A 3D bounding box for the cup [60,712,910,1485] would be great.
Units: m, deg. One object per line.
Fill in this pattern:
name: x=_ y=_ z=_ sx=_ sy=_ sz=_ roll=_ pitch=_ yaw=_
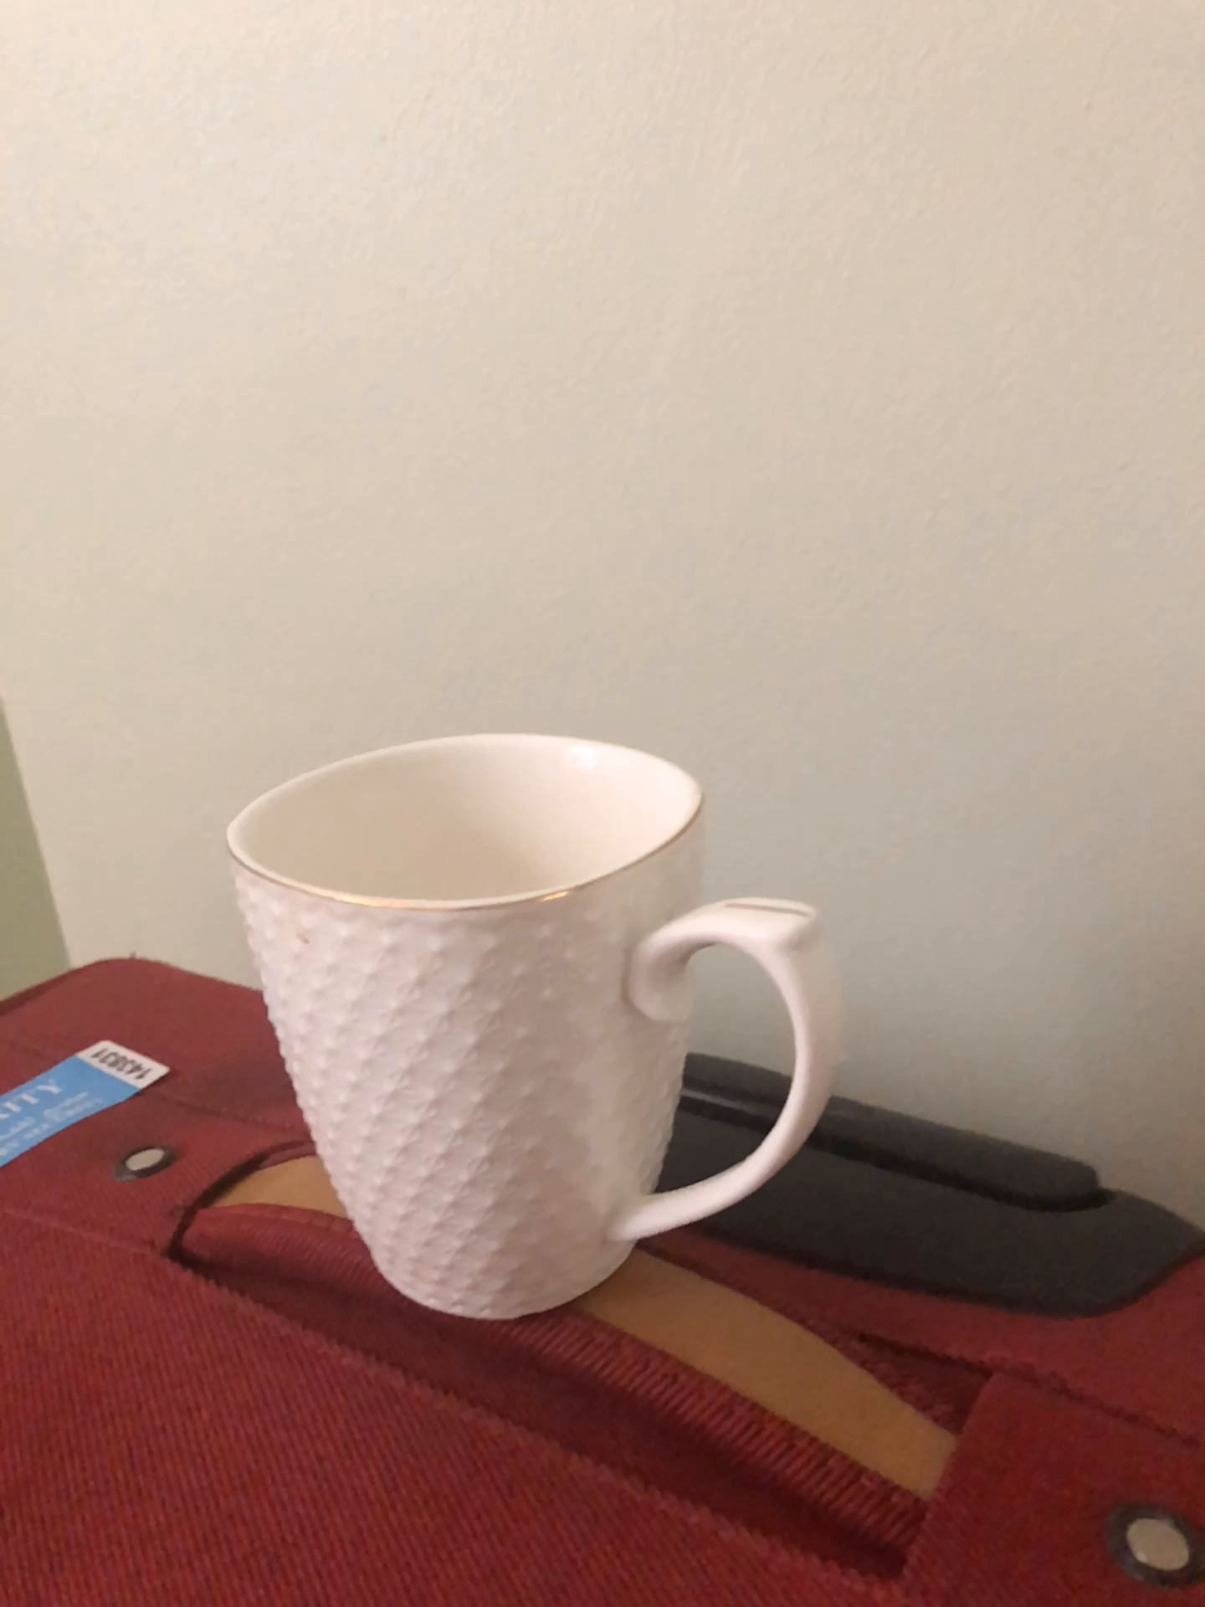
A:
cup: x=-0.012 y=0.039 z=0.227 sx=0.112 sy=0.084 sz=0.075 roll=4 pitch=24 yaw=24
